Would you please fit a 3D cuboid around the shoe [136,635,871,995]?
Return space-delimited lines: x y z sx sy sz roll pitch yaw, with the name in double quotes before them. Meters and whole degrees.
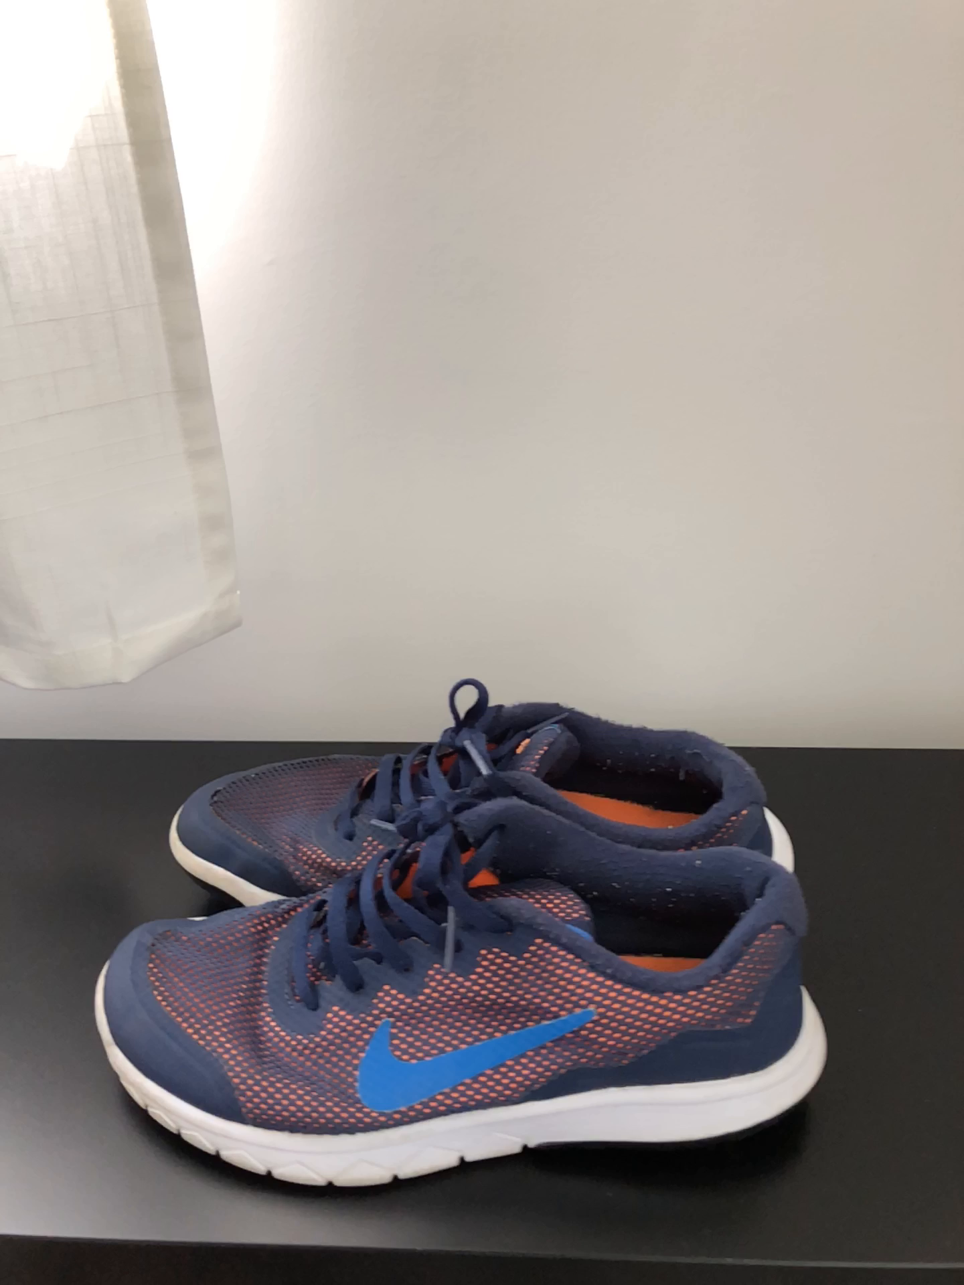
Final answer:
"shoe" 0.009 0.066 0.440 0.260 0.089 0.100 2 29 5

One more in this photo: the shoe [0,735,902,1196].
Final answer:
"shoe" -0.015 0.105 0.367 0.260 0.089 0.121 -1 29 0
